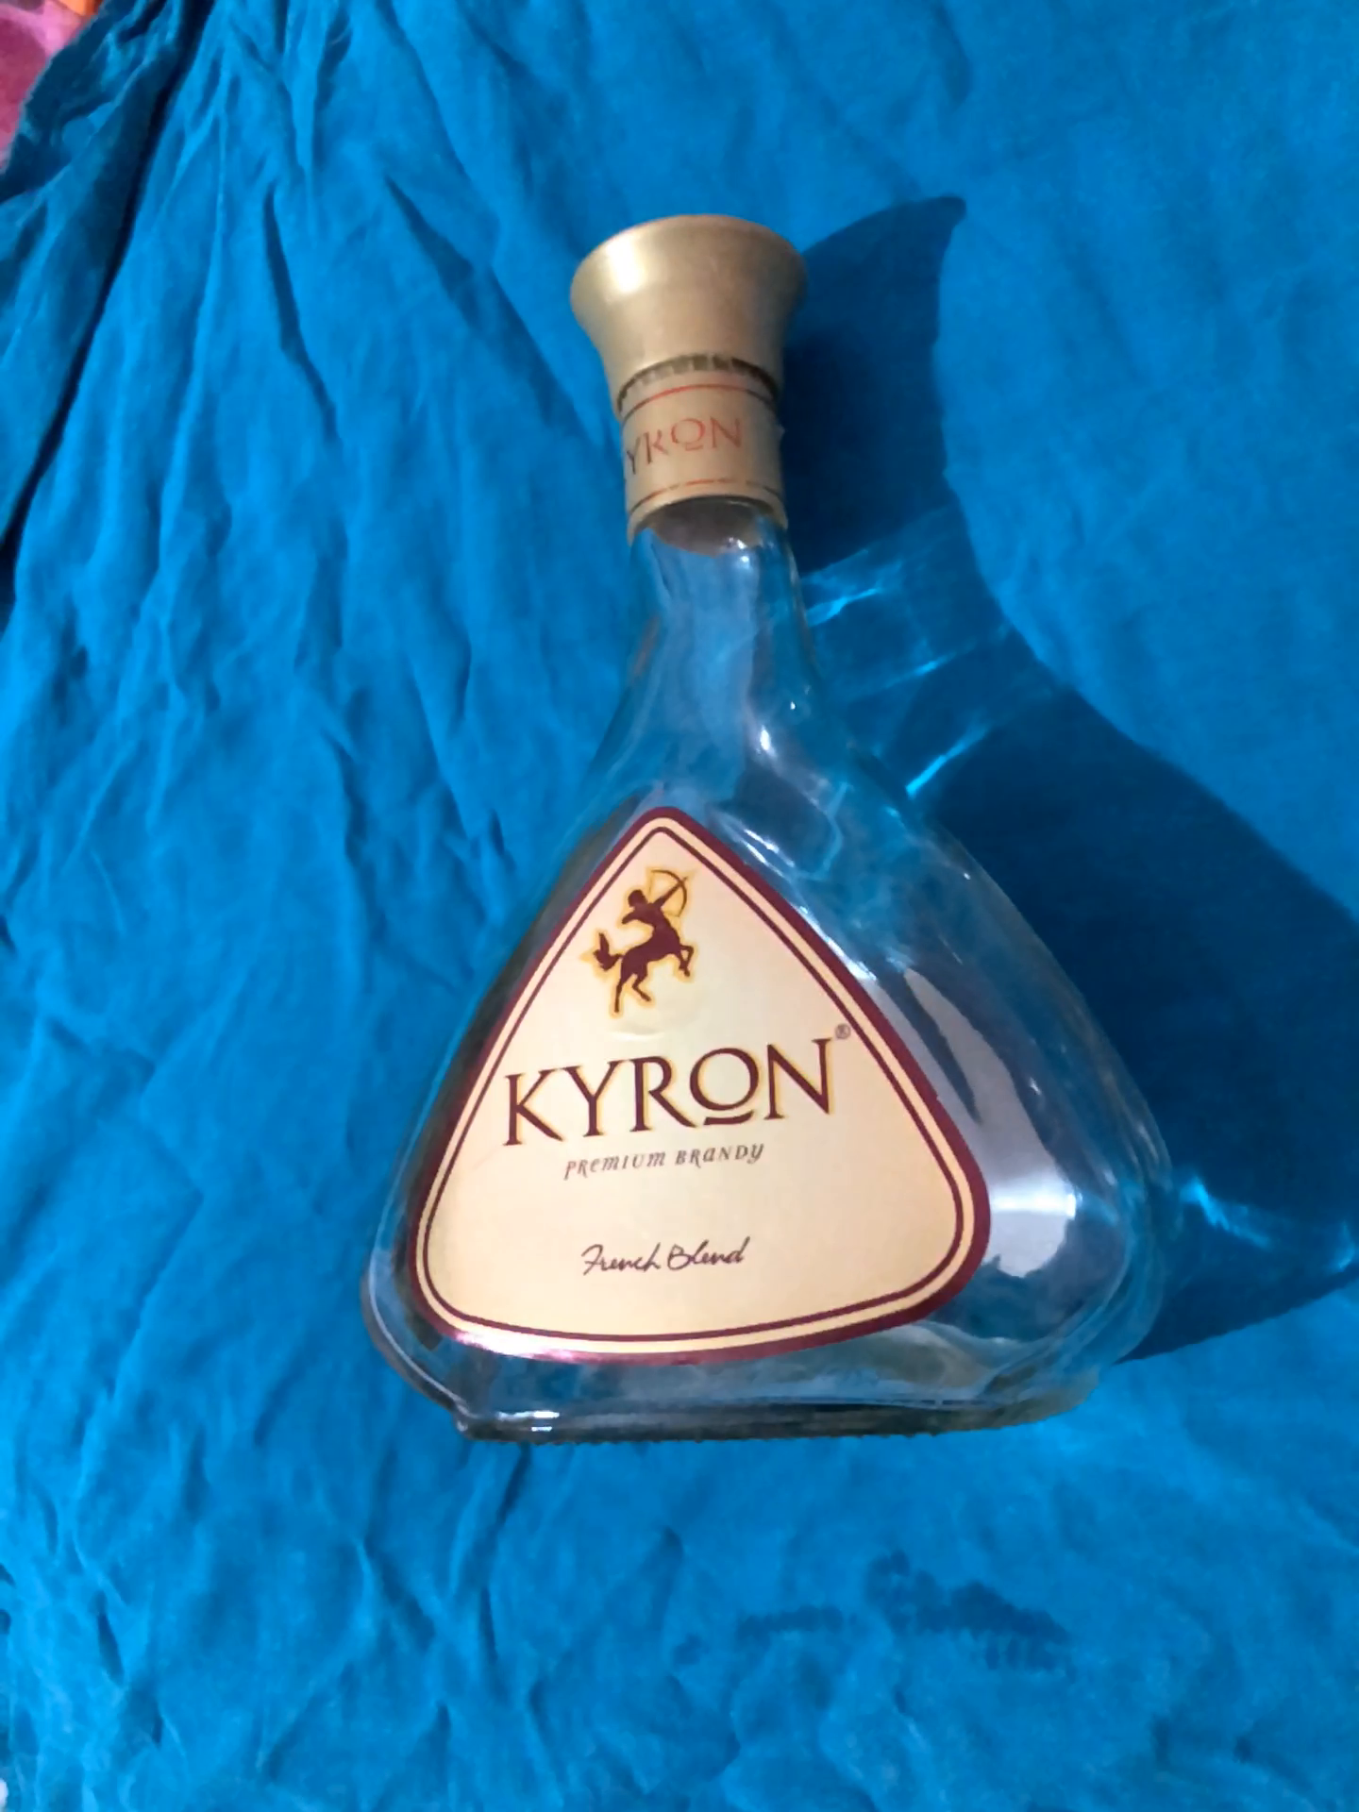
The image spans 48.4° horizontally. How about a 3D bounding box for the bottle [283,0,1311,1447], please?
[{"bbox_3d":[0.016,-0.031,0.286,0.150,0.080,0.240,-10,79,26],"label":"bottle"}]
